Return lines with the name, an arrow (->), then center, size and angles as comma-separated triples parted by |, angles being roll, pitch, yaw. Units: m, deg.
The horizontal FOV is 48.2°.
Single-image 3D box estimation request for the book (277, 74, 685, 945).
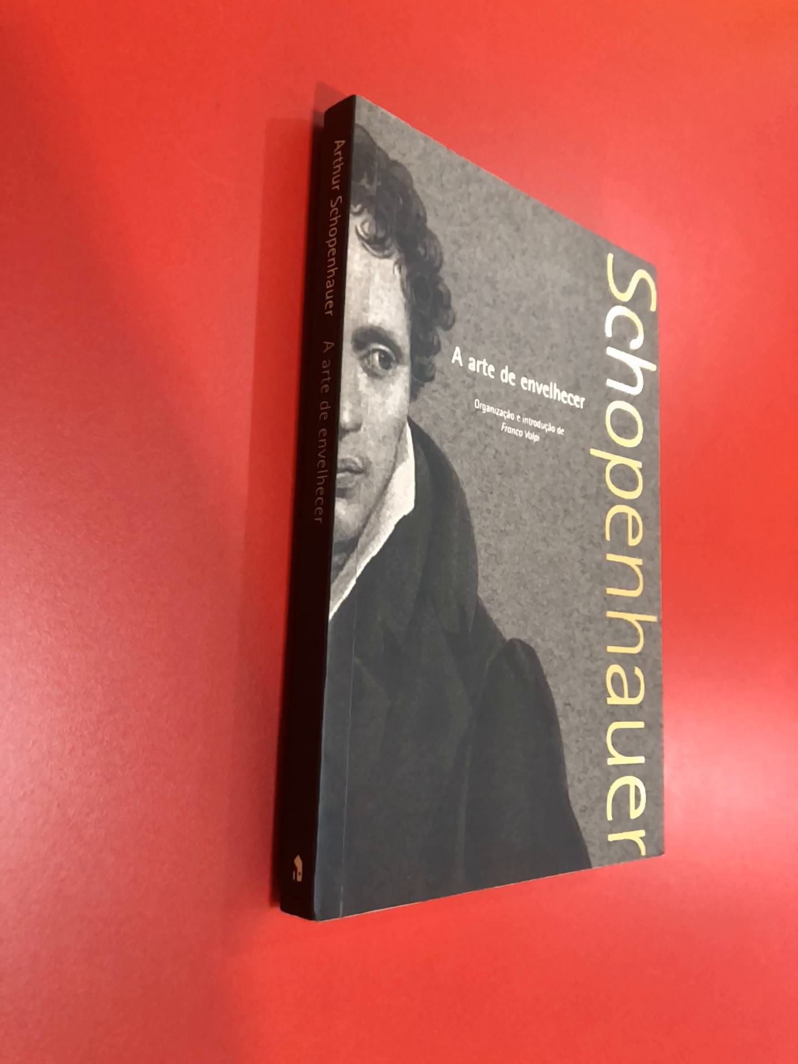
book -> 0.035, -0.002, 0.249 | 0.138, 0.017, 0.196 | 10, 80, -41
